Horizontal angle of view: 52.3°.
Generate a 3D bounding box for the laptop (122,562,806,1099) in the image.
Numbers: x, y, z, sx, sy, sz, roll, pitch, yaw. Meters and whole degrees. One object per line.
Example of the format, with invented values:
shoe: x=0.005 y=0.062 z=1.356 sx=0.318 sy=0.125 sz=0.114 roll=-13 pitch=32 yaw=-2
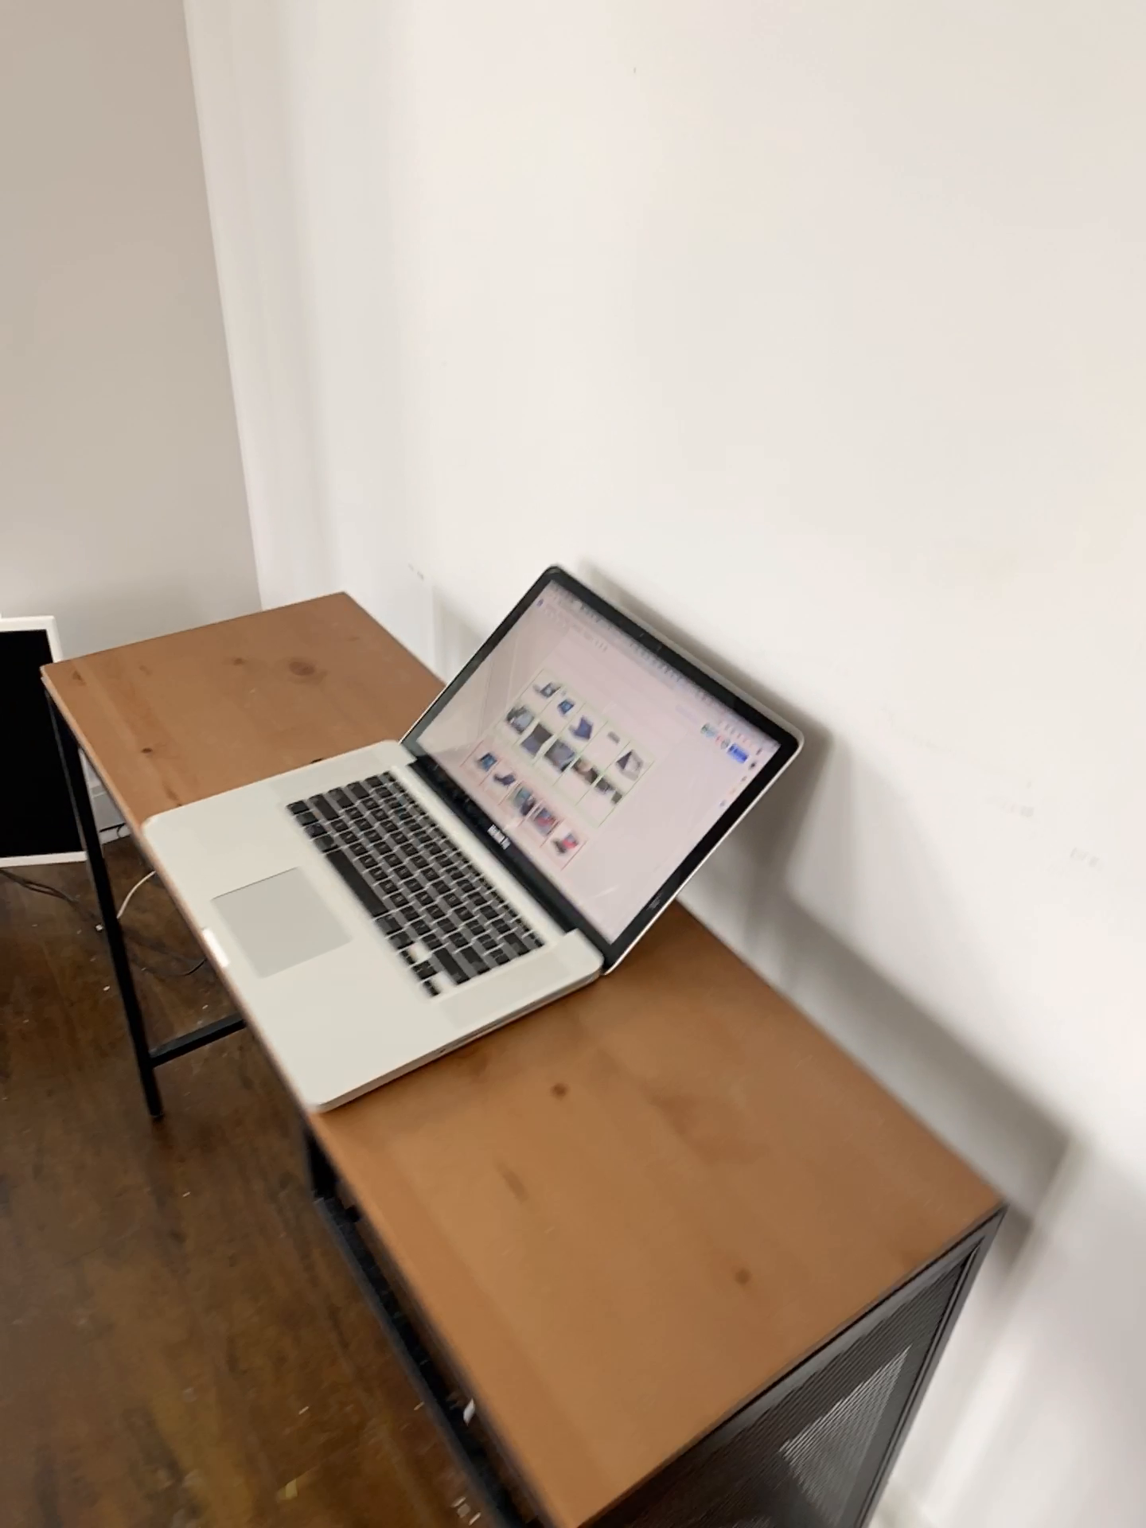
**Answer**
laptop: x=-0.098 y=0.016 z=1.011 sx=0.439 sy=0.151 sz=0.369 roll=-20 pitch=42 yaw=-29
